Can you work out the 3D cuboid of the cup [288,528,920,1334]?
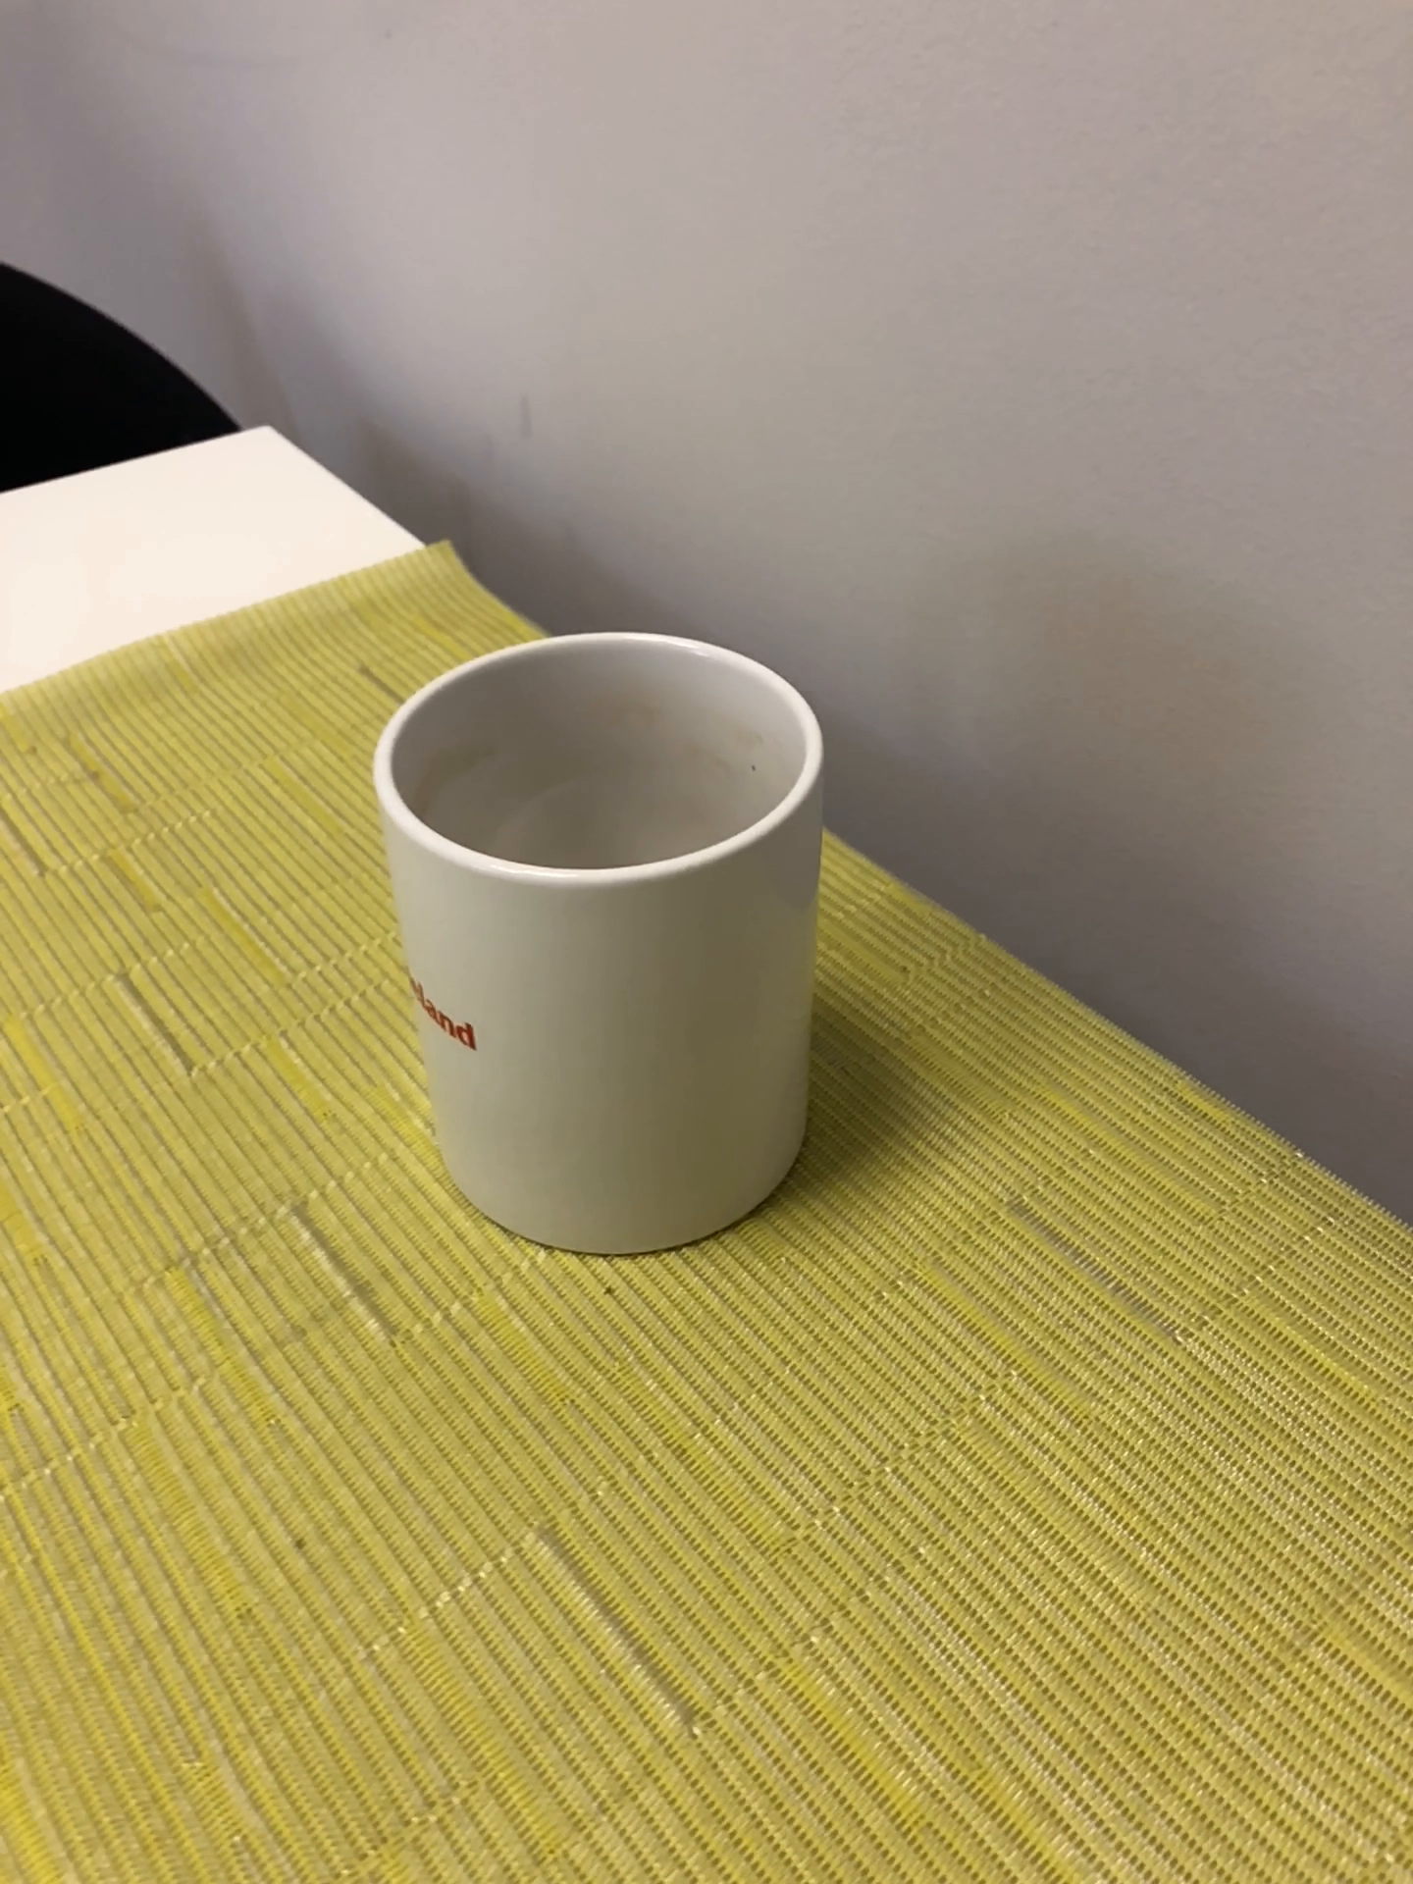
[{"bbox_3d":[-0.026,-0.008,0.317,0.089,0.100,0.114,-10,41,-14],"label":"cup"}]
